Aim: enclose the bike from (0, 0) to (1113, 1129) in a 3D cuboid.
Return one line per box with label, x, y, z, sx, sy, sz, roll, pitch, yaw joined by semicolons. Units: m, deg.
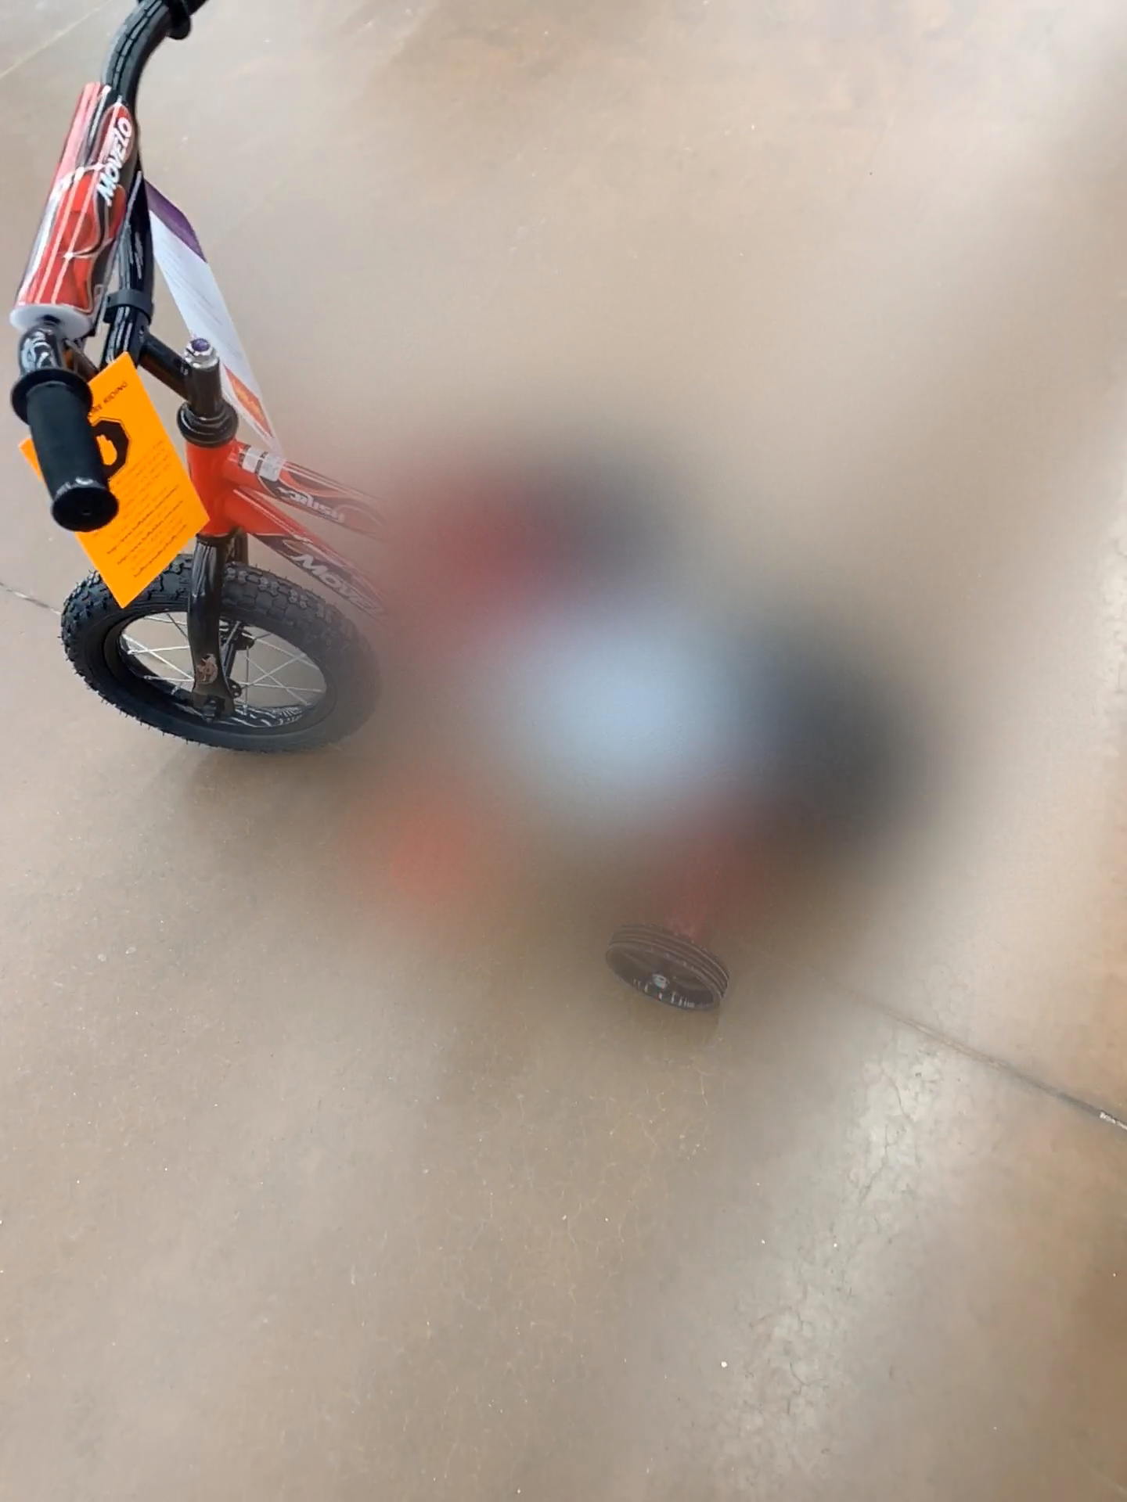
bike;-0.114;-0.144;0.762;0.736;0.605;0.440;11;58;12
